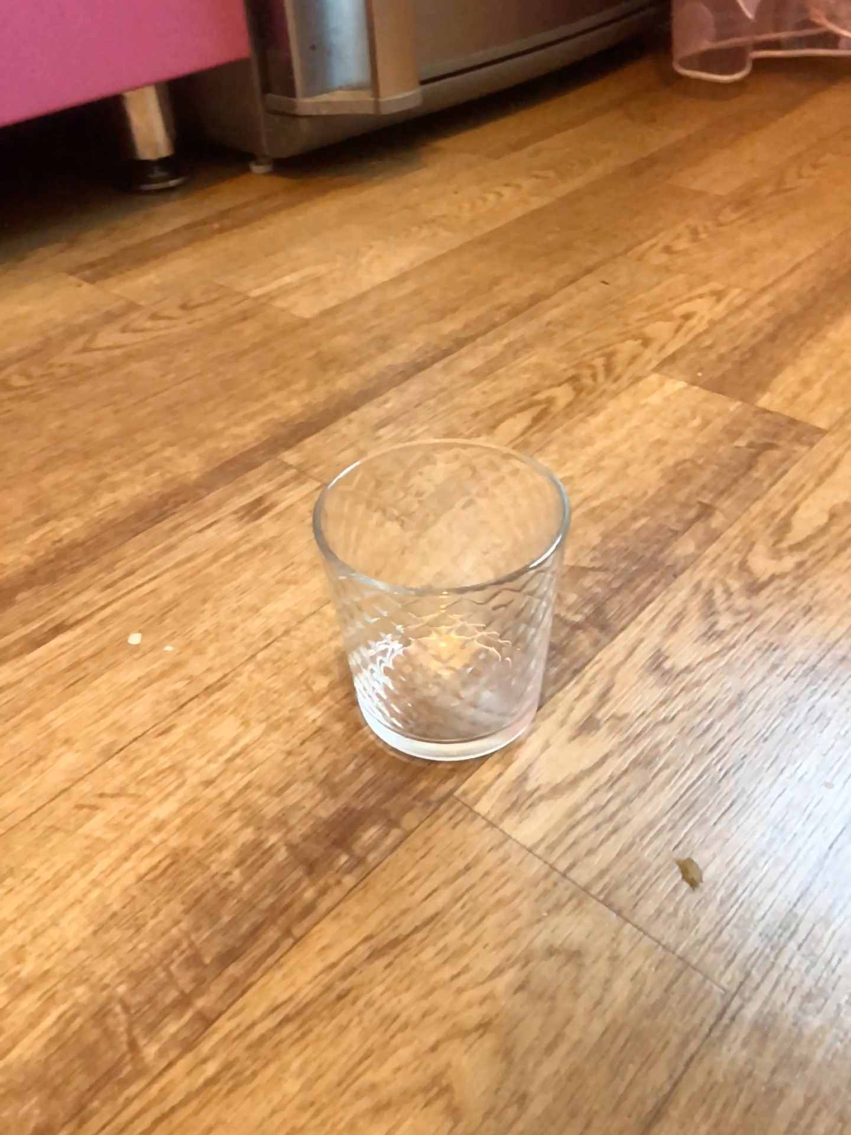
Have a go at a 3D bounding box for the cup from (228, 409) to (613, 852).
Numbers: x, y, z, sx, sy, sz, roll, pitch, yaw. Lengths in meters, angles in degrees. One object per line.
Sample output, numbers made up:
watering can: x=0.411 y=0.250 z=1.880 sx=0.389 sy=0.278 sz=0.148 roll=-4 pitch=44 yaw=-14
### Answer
cup: x=0.001 y=0.017 z=0.305 sx=0.080 sy=0.090 sz=0.080 roll=-2 pitch=39 yaw=2
